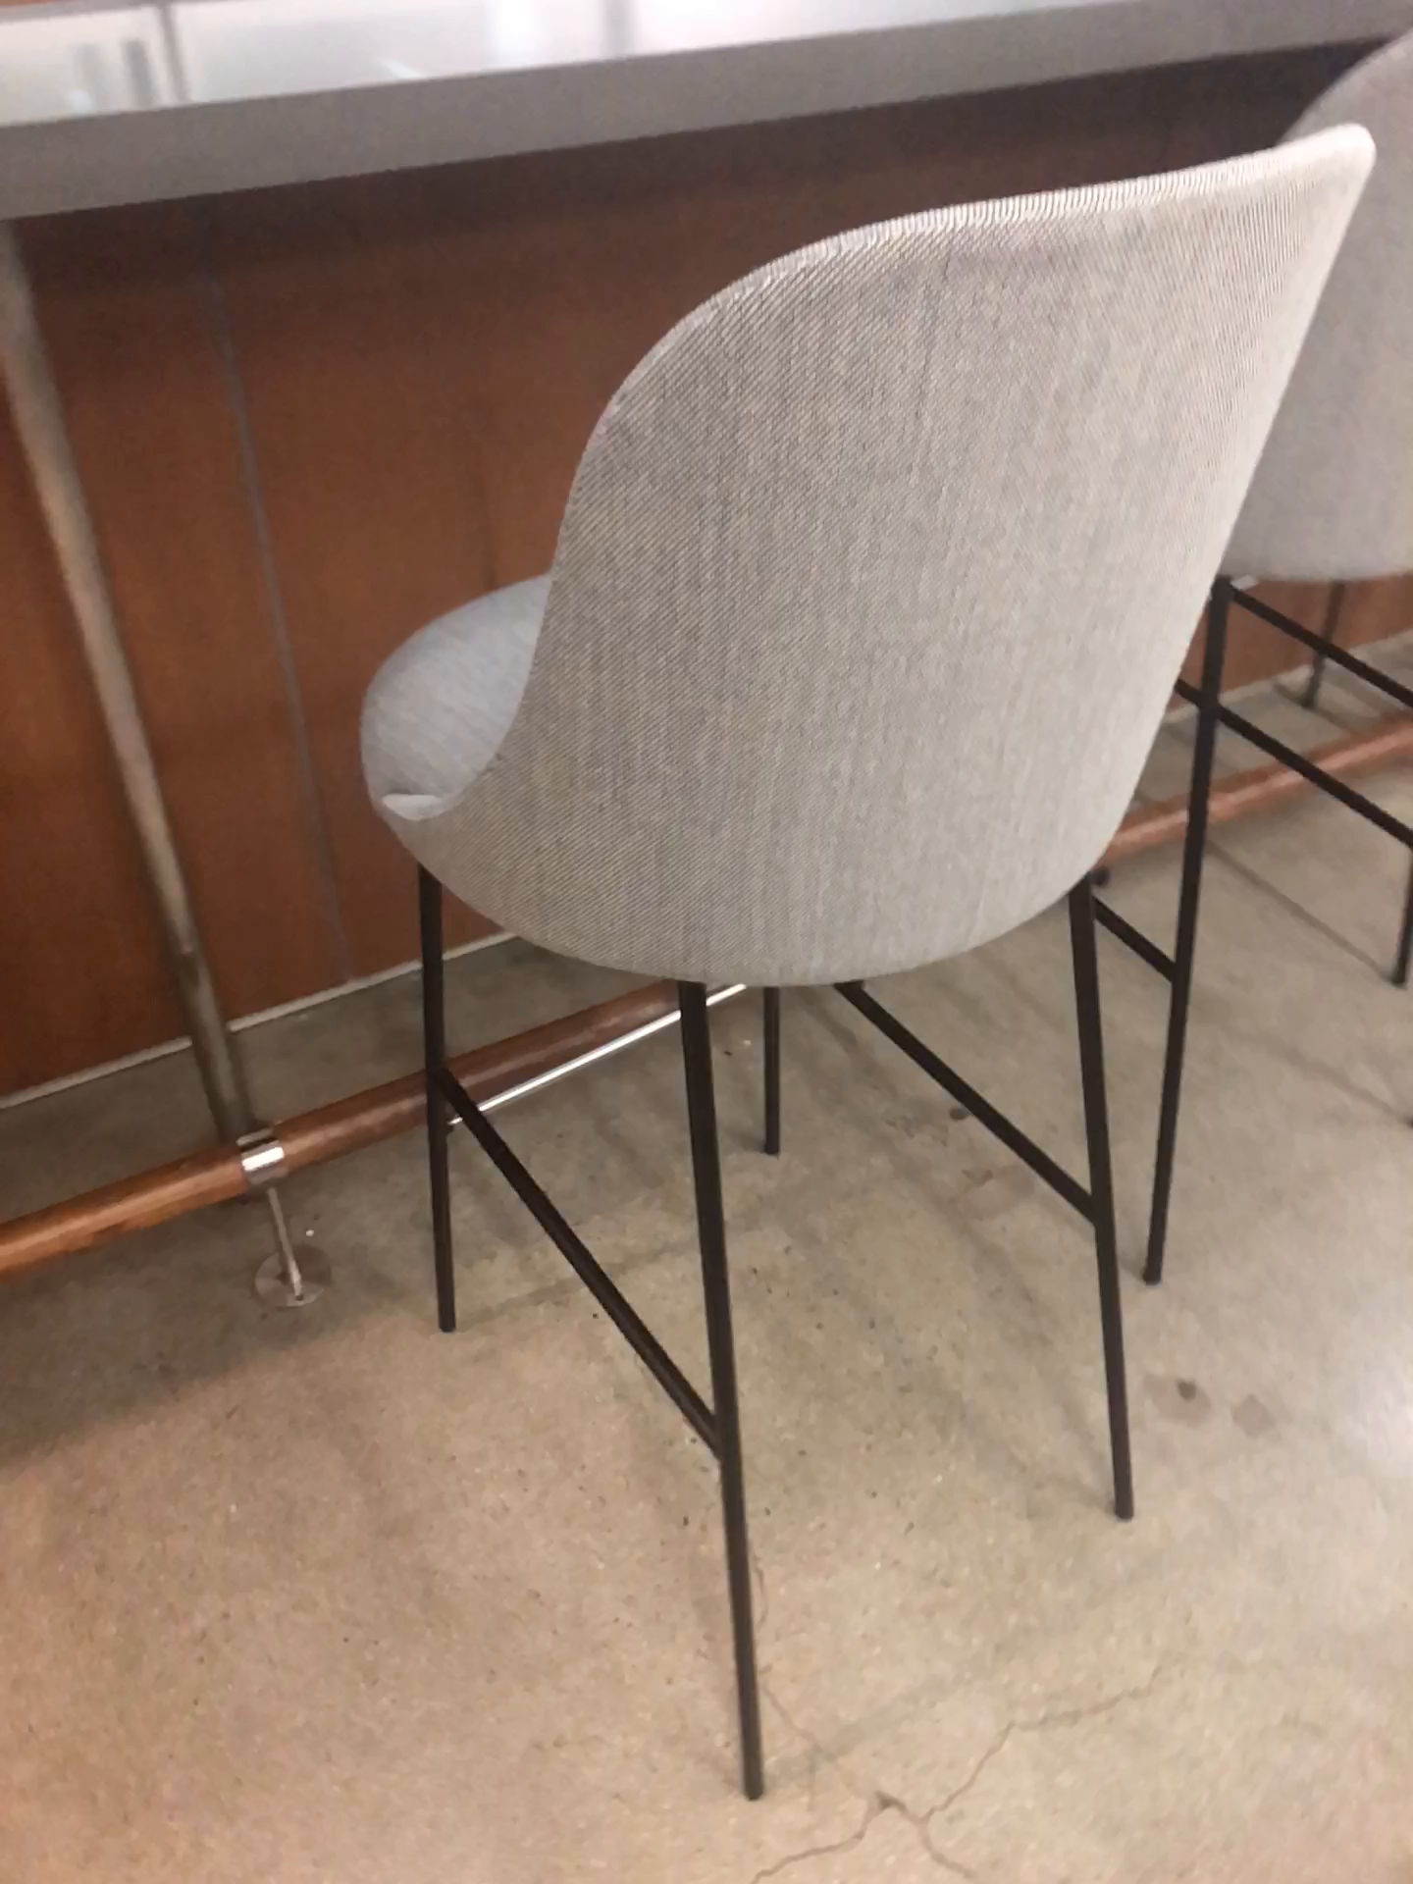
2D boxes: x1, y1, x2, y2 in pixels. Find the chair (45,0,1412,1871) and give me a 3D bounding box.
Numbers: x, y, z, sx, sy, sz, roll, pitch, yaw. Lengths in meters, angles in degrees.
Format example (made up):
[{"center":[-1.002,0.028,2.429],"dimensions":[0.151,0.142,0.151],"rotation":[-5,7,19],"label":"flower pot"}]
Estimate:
[{"center":[0.034,-0.014,1.083],"dimensions":[0.512,1.091,0.632],"rotation":[-23,44,-25],"label":"chair"}]
